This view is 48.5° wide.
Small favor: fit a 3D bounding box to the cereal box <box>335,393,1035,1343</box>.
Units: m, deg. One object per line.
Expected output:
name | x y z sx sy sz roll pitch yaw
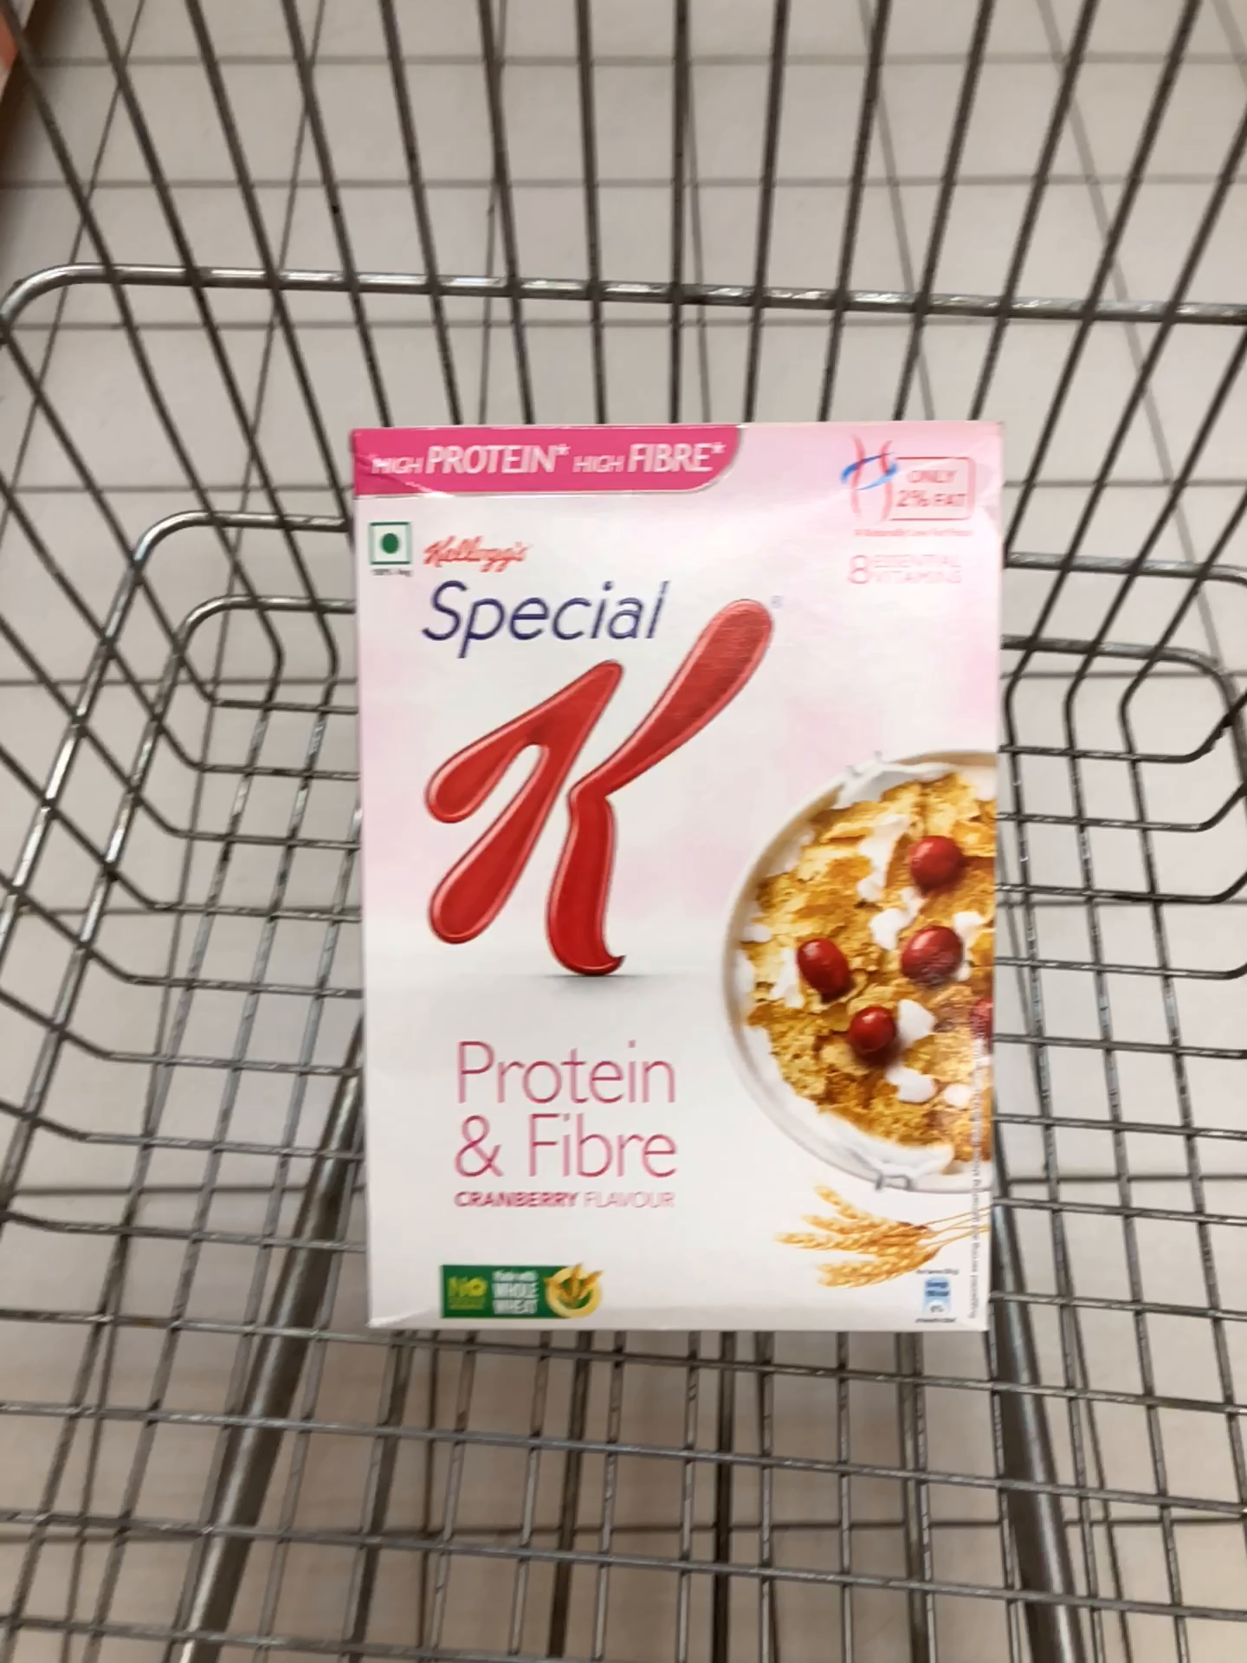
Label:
cereal box | 0.016 0.009 0.441 0.190 0.100 0.270 1 97 0
